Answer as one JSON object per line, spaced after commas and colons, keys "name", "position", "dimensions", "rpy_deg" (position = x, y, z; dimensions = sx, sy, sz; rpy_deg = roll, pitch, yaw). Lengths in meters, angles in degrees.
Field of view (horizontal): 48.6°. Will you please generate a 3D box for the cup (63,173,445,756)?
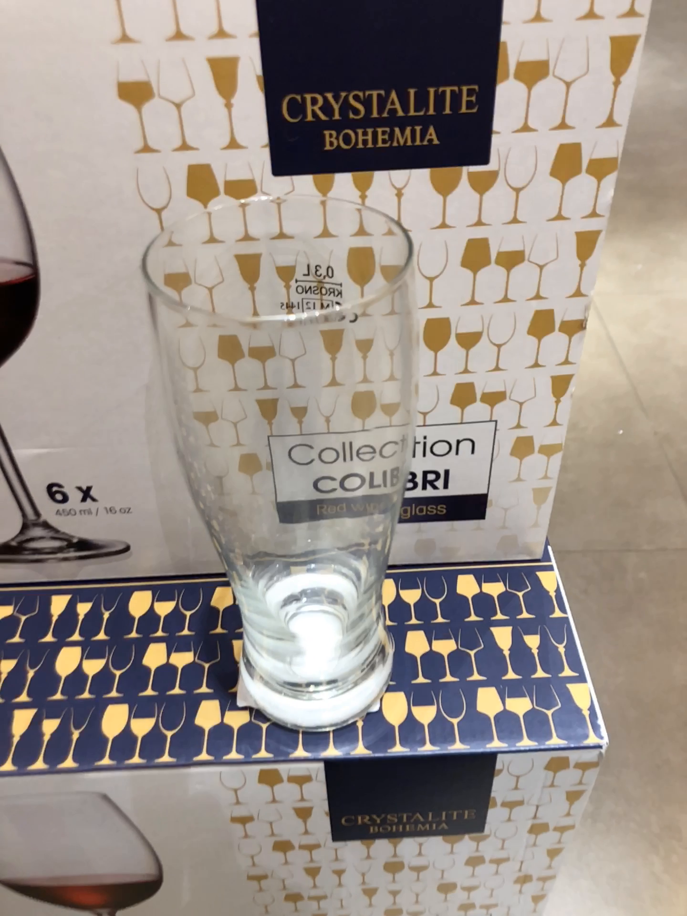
{"name": "cup", "position": [-0.013, 0.013, 0.247], "dimensions": [0.080, 0.179, 0.081], "rpy_deg": [-2, 41, 1]}
